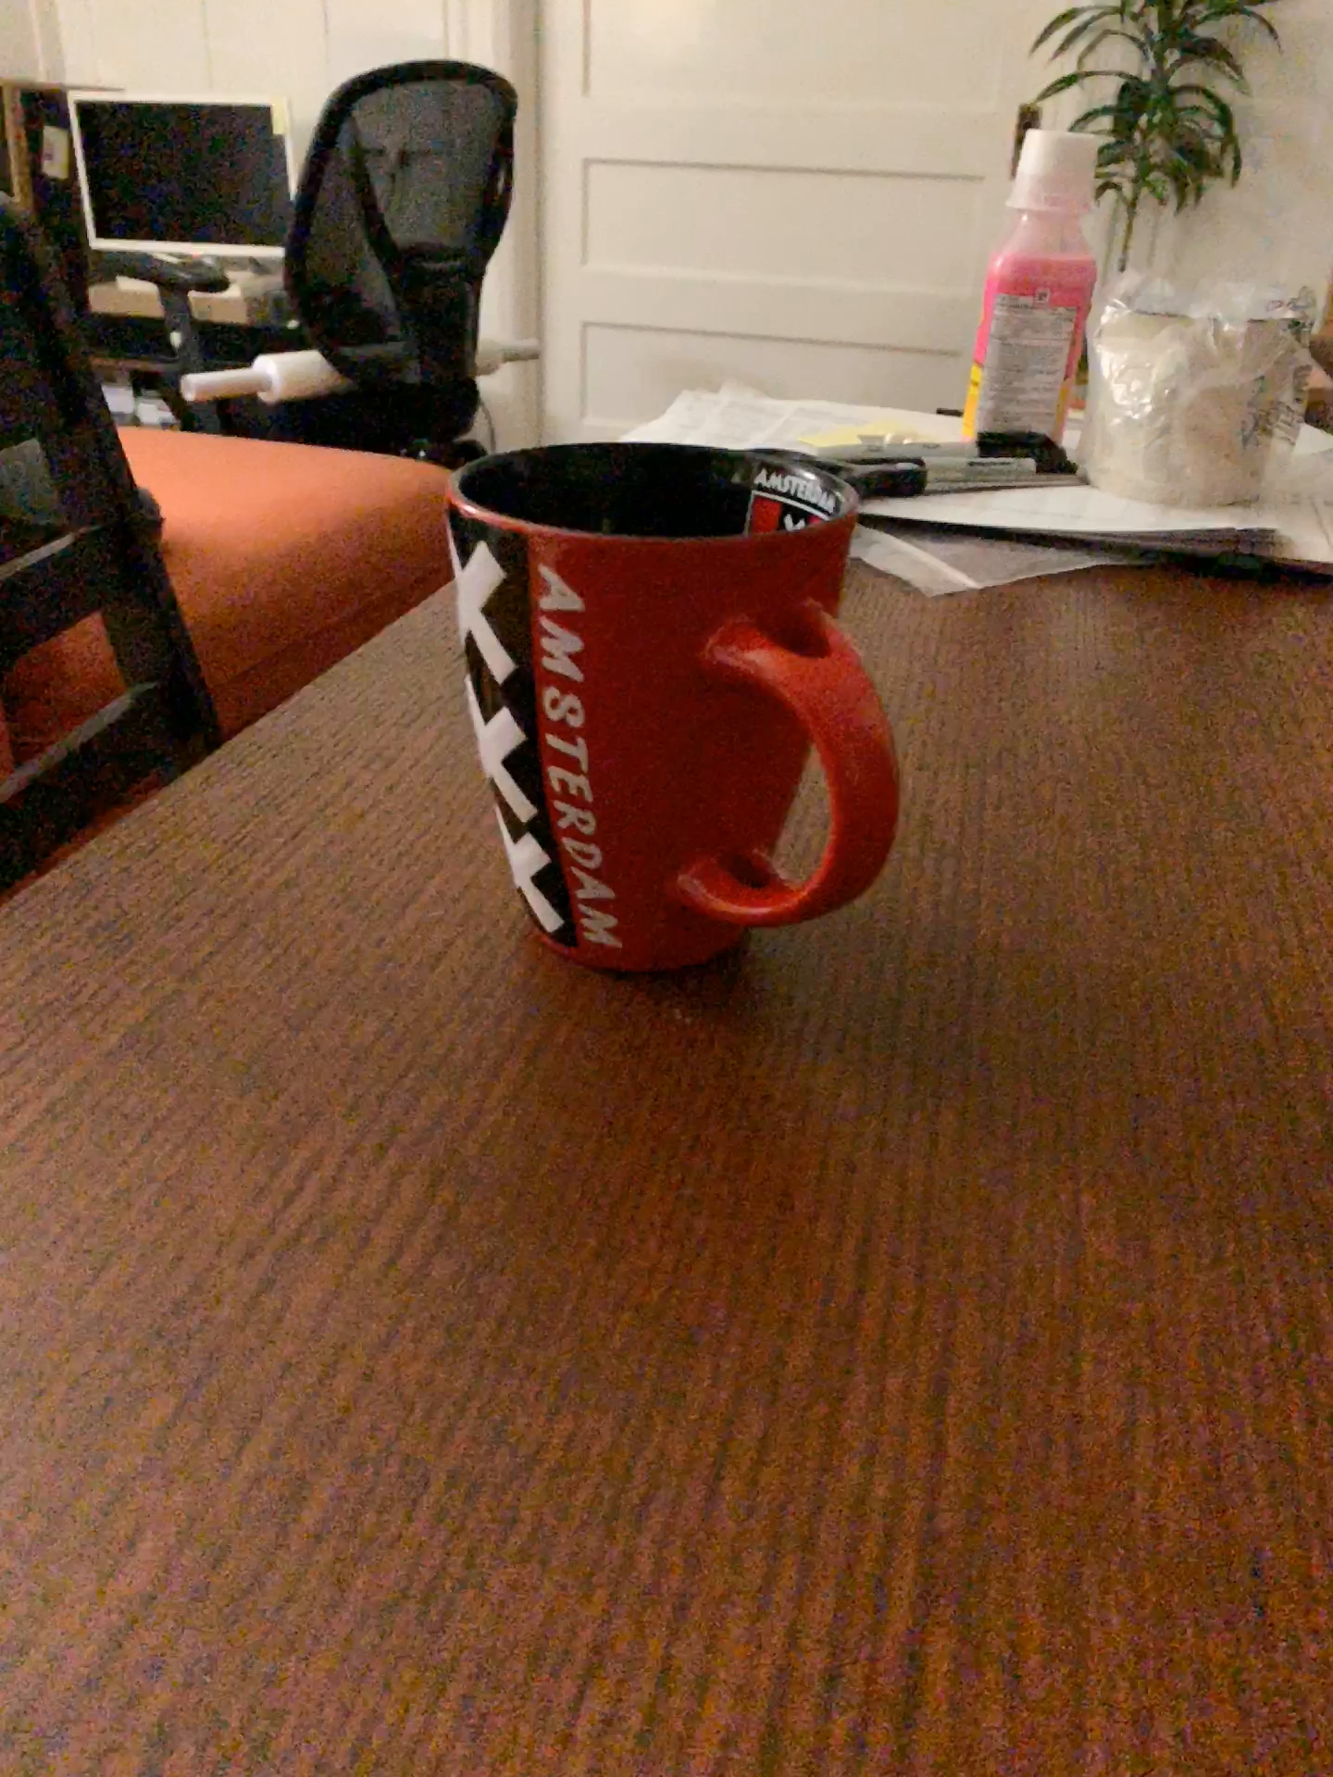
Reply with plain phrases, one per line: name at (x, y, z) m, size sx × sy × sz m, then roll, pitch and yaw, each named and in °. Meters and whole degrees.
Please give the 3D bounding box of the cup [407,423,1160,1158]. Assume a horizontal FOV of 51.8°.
cup at (0.013, -0.033, 0.293) m, size 0.090 × 0.099 × 0.131 m, roll -14°, pitch 33°, yaw -27°
